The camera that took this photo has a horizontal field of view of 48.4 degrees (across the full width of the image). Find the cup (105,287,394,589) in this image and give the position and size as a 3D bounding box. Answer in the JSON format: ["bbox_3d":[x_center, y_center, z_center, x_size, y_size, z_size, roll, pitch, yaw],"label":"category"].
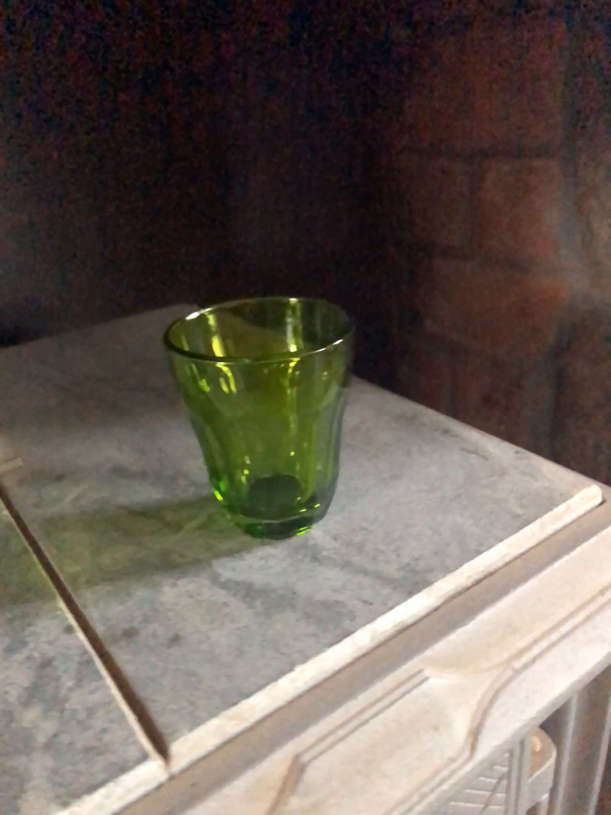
[{"bbox_3d":[-0.022,0.005,0.280,0.080,0.080,0.080,-4,25,2],"label":"cup"}]
